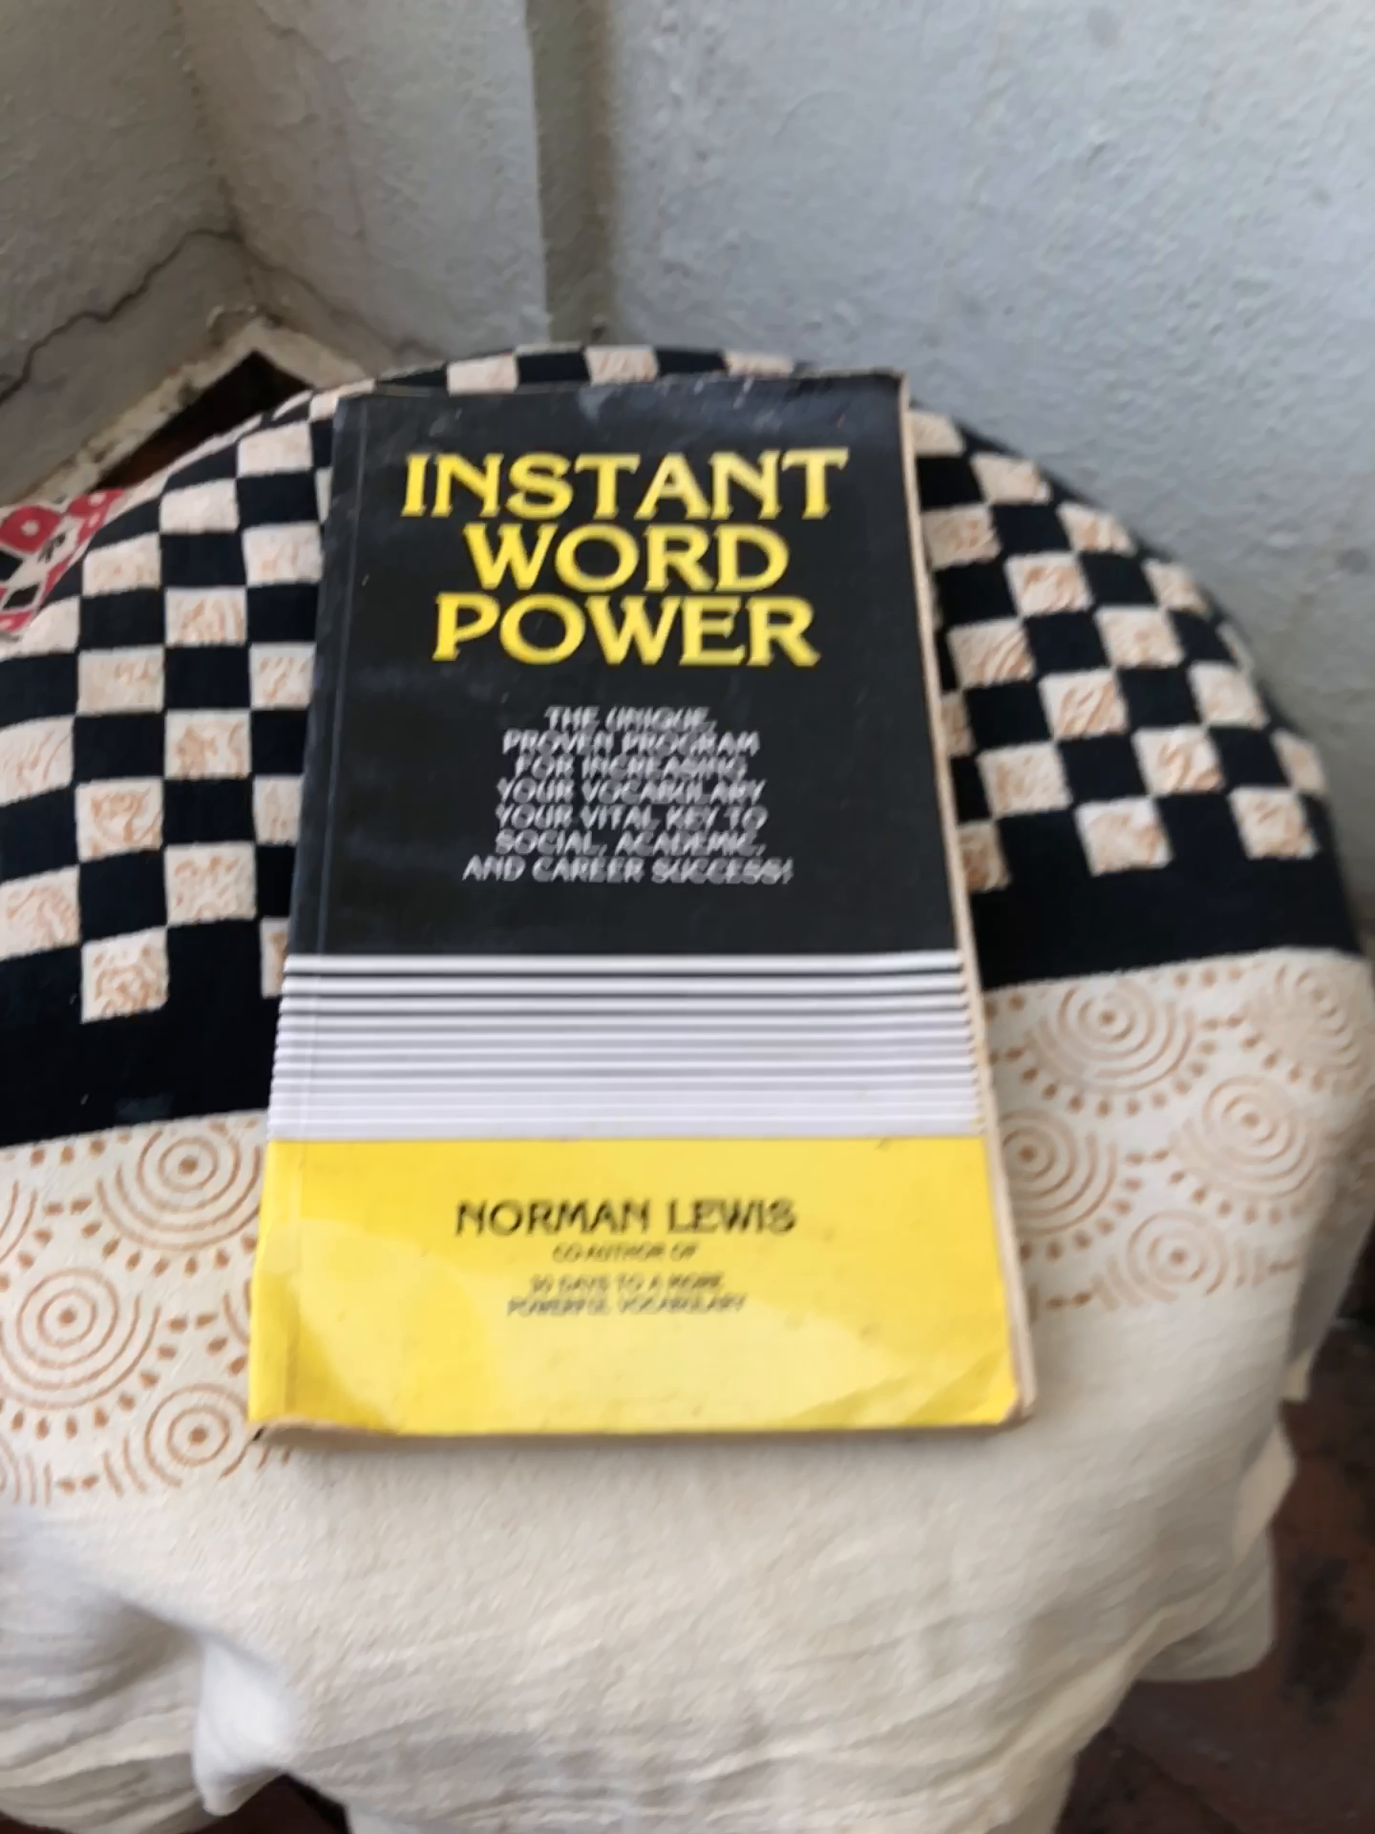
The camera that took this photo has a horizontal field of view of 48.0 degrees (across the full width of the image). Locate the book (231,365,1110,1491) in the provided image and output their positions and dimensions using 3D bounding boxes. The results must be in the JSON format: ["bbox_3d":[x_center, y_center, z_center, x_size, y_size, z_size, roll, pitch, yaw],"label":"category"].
[{"bbox_3d":[-0.008,-0.022,0.380,0.160,0.040,0.301,-1,57,-3],"label":"book"}]
